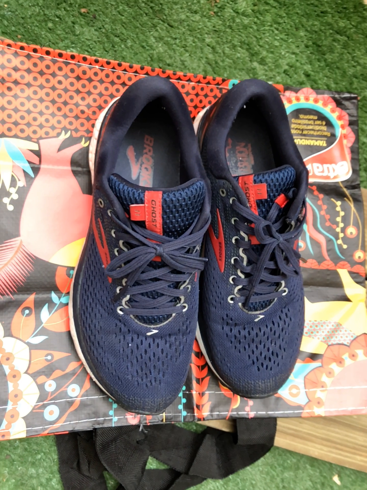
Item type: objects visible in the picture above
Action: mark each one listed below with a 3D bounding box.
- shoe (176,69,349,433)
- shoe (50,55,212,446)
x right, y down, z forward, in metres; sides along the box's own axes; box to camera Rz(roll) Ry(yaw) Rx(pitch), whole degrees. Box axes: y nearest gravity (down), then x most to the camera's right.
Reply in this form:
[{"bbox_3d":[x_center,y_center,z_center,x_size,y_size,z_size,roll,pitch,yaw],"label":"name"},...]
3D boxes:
[{"bbox_3d":[0.057,0.002,0.354,0.100,0.100,0.265,-2,84,-11],"label":"shoe"},{"bbox_3d":[-0.045,0.002,0.335,0.107,0.100,0.265,0,84,-11],"label":"shoe"}]
